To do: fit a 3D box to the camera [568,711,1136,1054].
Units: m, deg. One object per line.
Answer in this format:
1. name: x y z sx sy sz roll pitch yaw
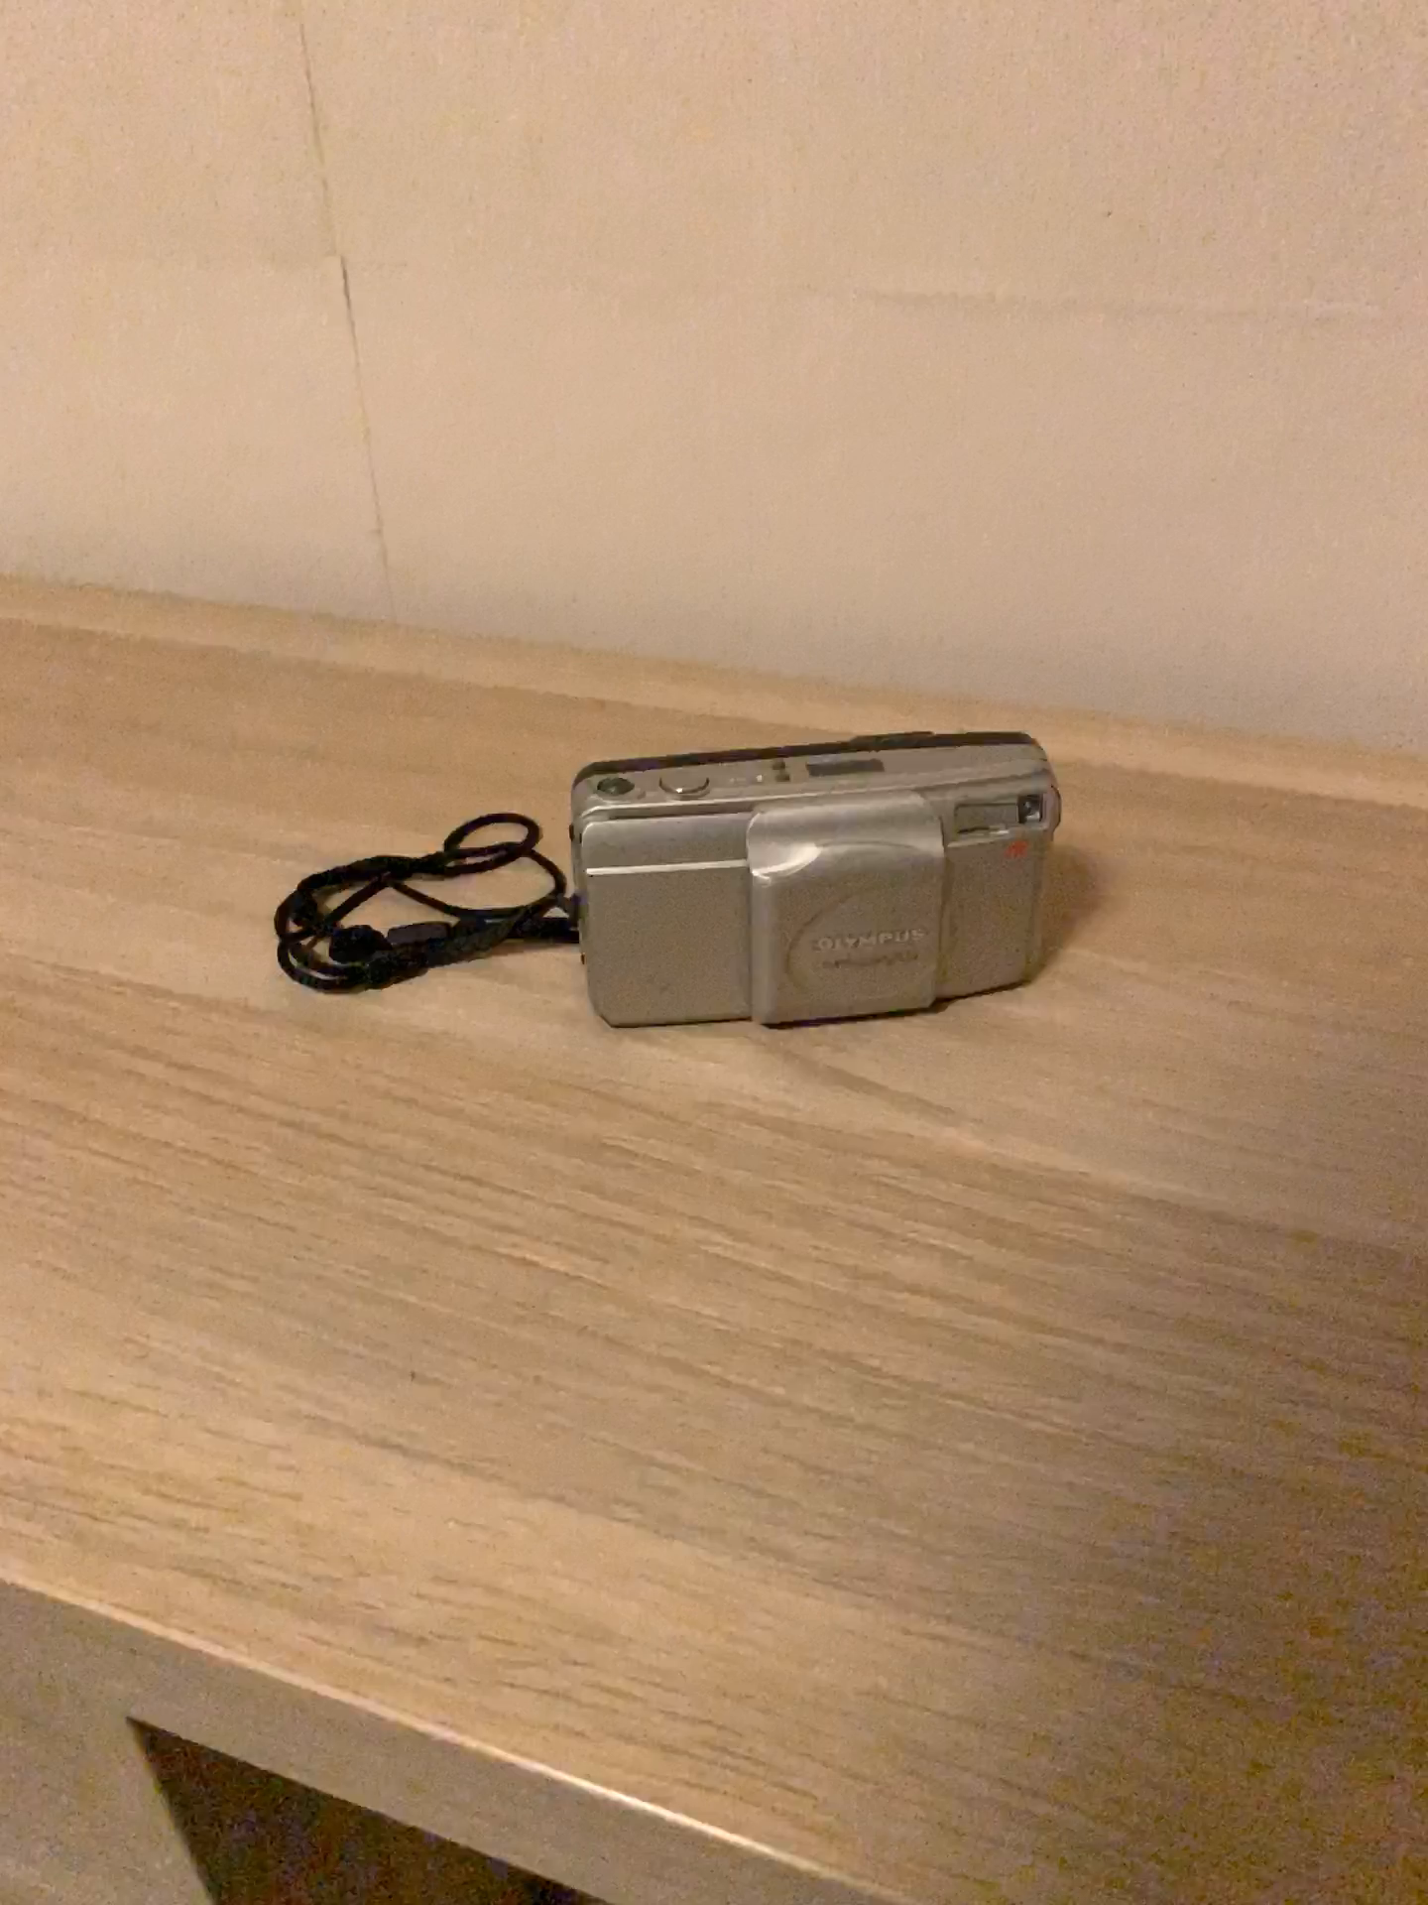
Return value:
1. camera: 0.030 -0.018 0.360 0.126 0.059 0.046 -4 34 -5
